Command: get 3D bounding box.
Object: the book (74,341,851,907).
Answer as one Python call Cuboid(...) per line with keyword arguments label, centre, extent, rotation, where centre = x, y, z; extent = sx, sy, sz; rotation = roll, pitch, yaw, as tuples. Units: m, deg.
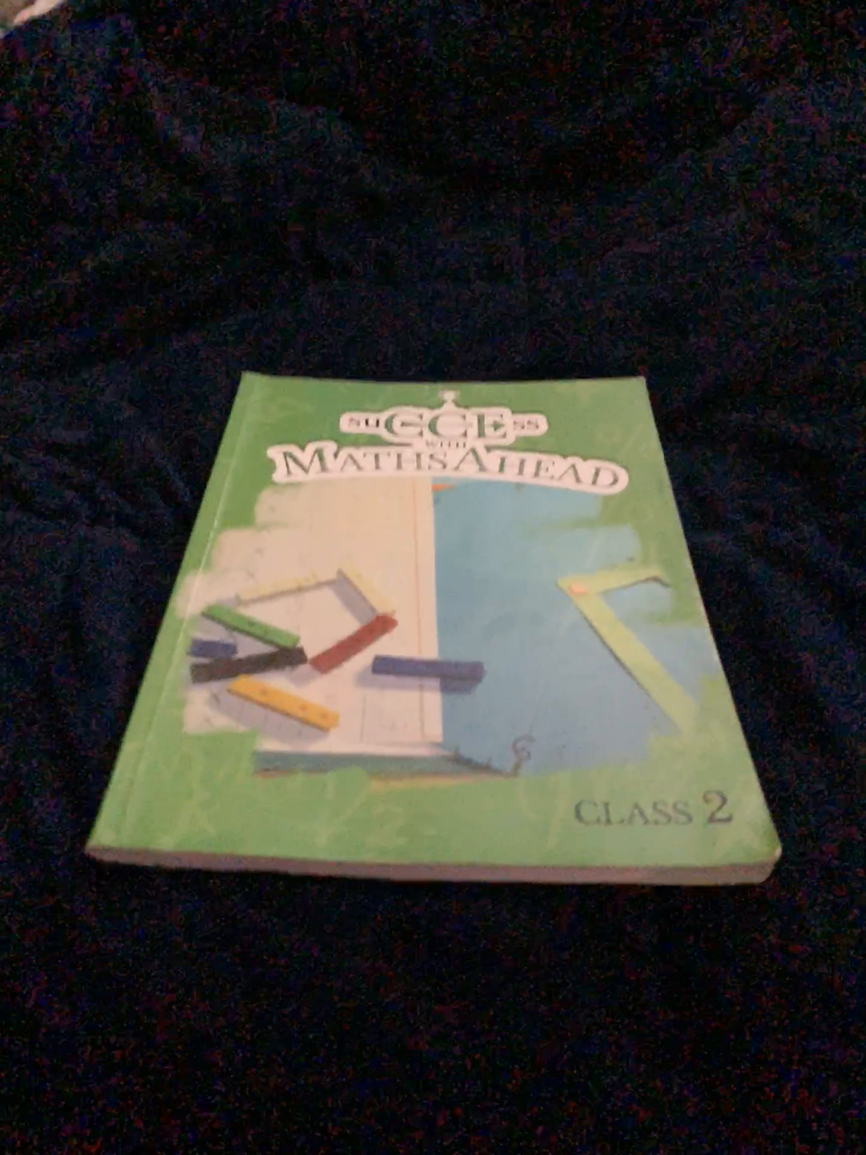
Cuboid(label="book", centre=(0.011, -0.009, 0.367), extent=(0.230, 0.020, 0.281), rotation=(2, 46, 0))
